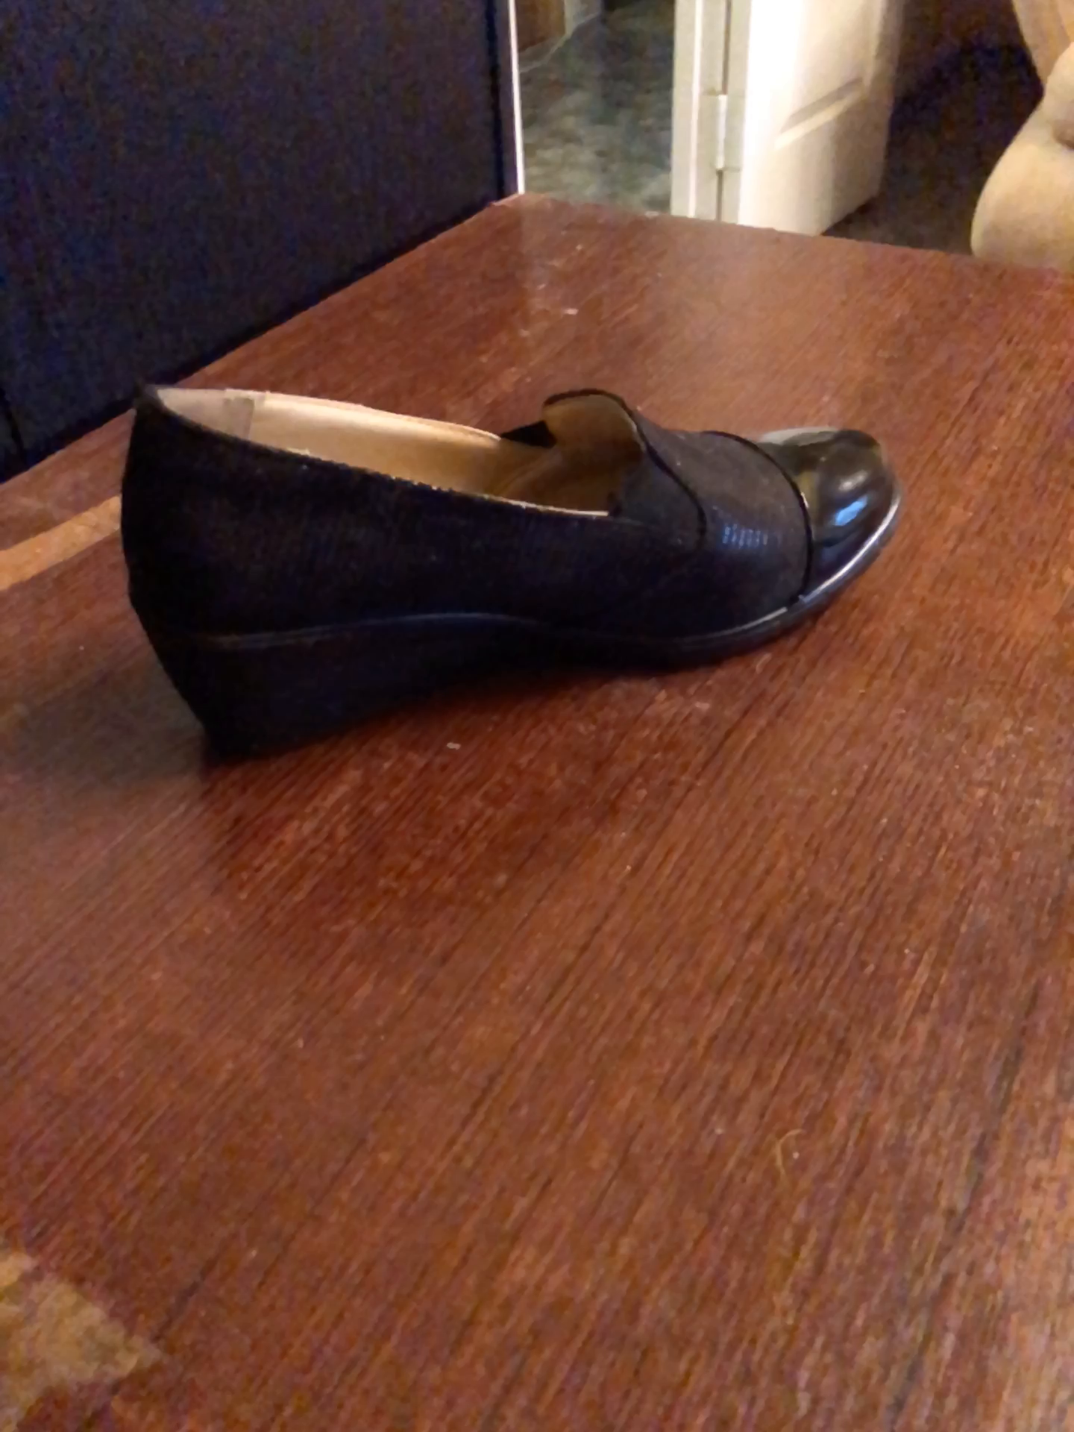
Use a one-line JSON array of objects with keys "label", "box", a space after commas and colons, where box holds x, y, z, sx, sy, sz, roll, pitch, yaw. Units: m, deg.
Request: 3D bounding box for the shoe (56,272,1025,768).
[{"label": "shoe", "box": [0.001, -0.065, 0.332, 0.236, 0.070, 0.090, -12, 40, -19]}]
